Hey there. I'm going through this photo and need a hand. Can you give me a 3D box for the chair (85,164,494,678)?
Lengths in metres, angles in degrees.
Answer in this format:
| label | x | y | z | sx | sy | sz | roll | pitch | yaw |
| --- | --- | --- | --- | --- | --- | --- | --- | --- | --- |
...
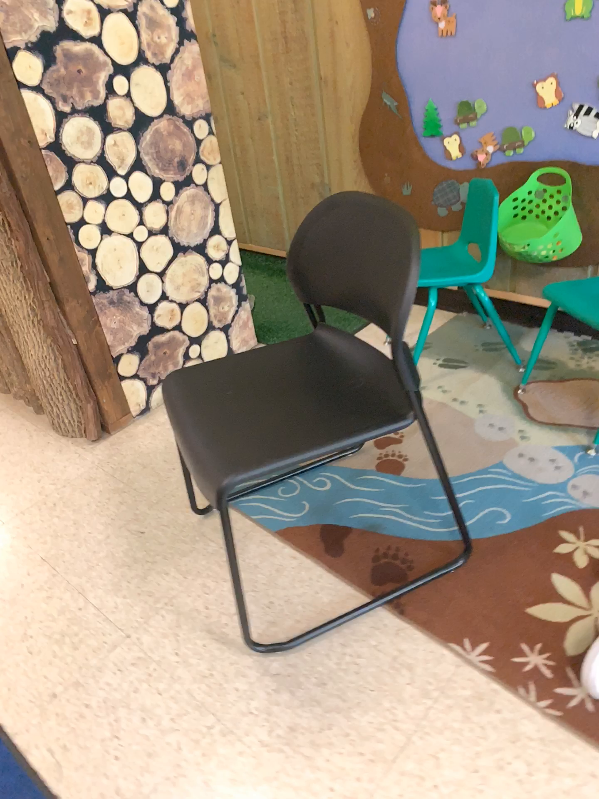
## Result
| label | x | y | z | sx | sy | sz | roll | pitch | yaw |
| --- | --- | --- | --- | --- | --- | --- | --- | --- | --- |
| chair | -0.023 | 0.000 | 1.329 | 0.570 | 0.785 | 0.594 | -19 | 33 | -16 |
